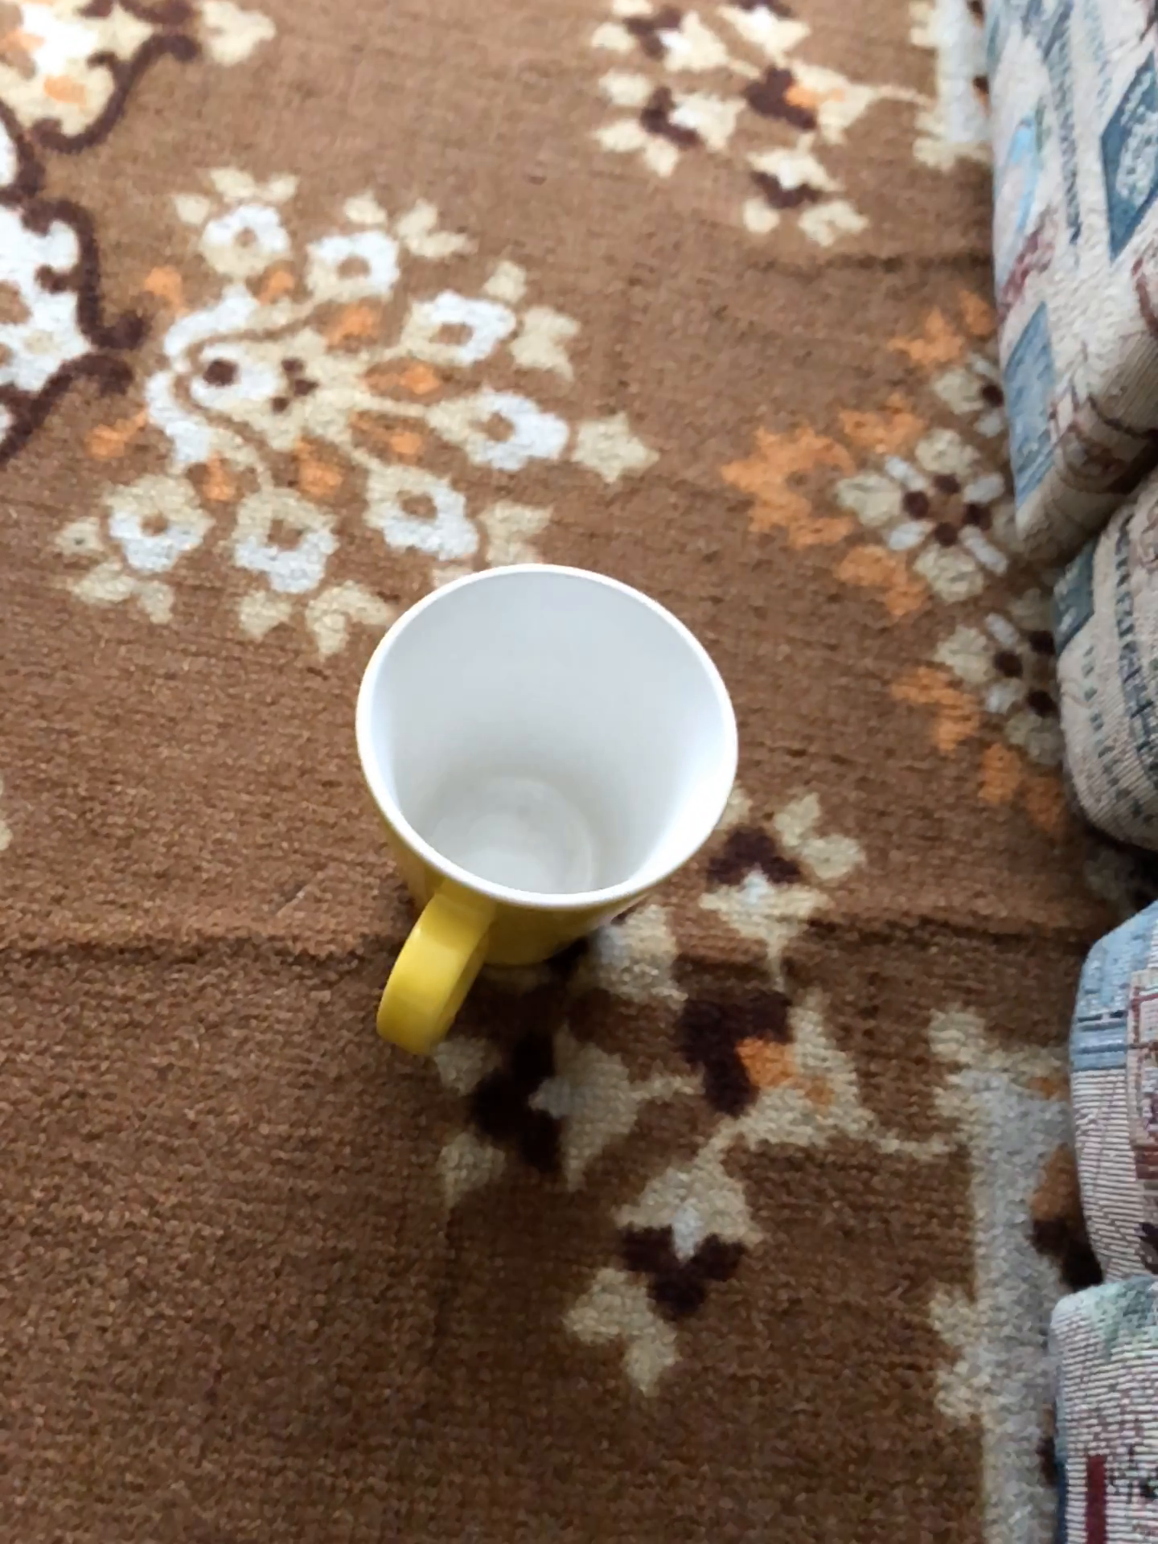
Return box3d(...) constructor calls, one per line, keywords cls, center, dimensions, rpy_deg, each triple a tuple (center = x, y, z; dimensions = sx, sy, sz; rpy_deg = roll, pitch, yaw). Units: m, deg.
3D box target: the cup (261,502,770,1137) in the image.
box3d(cls="cup", center=(-0.016, 0.016, 0.341), dimensions=(0.097, 0.088, 0.125), rpy_deg=(14, 63, -4))
